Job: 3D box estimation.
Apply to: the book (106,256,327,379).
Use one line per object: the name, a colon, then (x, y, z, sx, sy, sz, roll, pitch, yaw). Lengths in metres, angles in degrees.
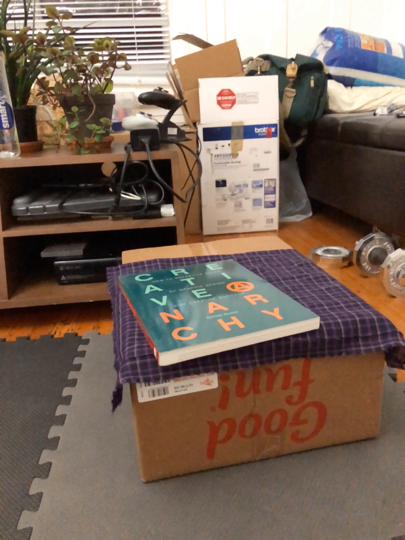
book: (-0.004, 0.045, 0.645, 0.220, 0.020, 0.301, -10, 21, -18)
